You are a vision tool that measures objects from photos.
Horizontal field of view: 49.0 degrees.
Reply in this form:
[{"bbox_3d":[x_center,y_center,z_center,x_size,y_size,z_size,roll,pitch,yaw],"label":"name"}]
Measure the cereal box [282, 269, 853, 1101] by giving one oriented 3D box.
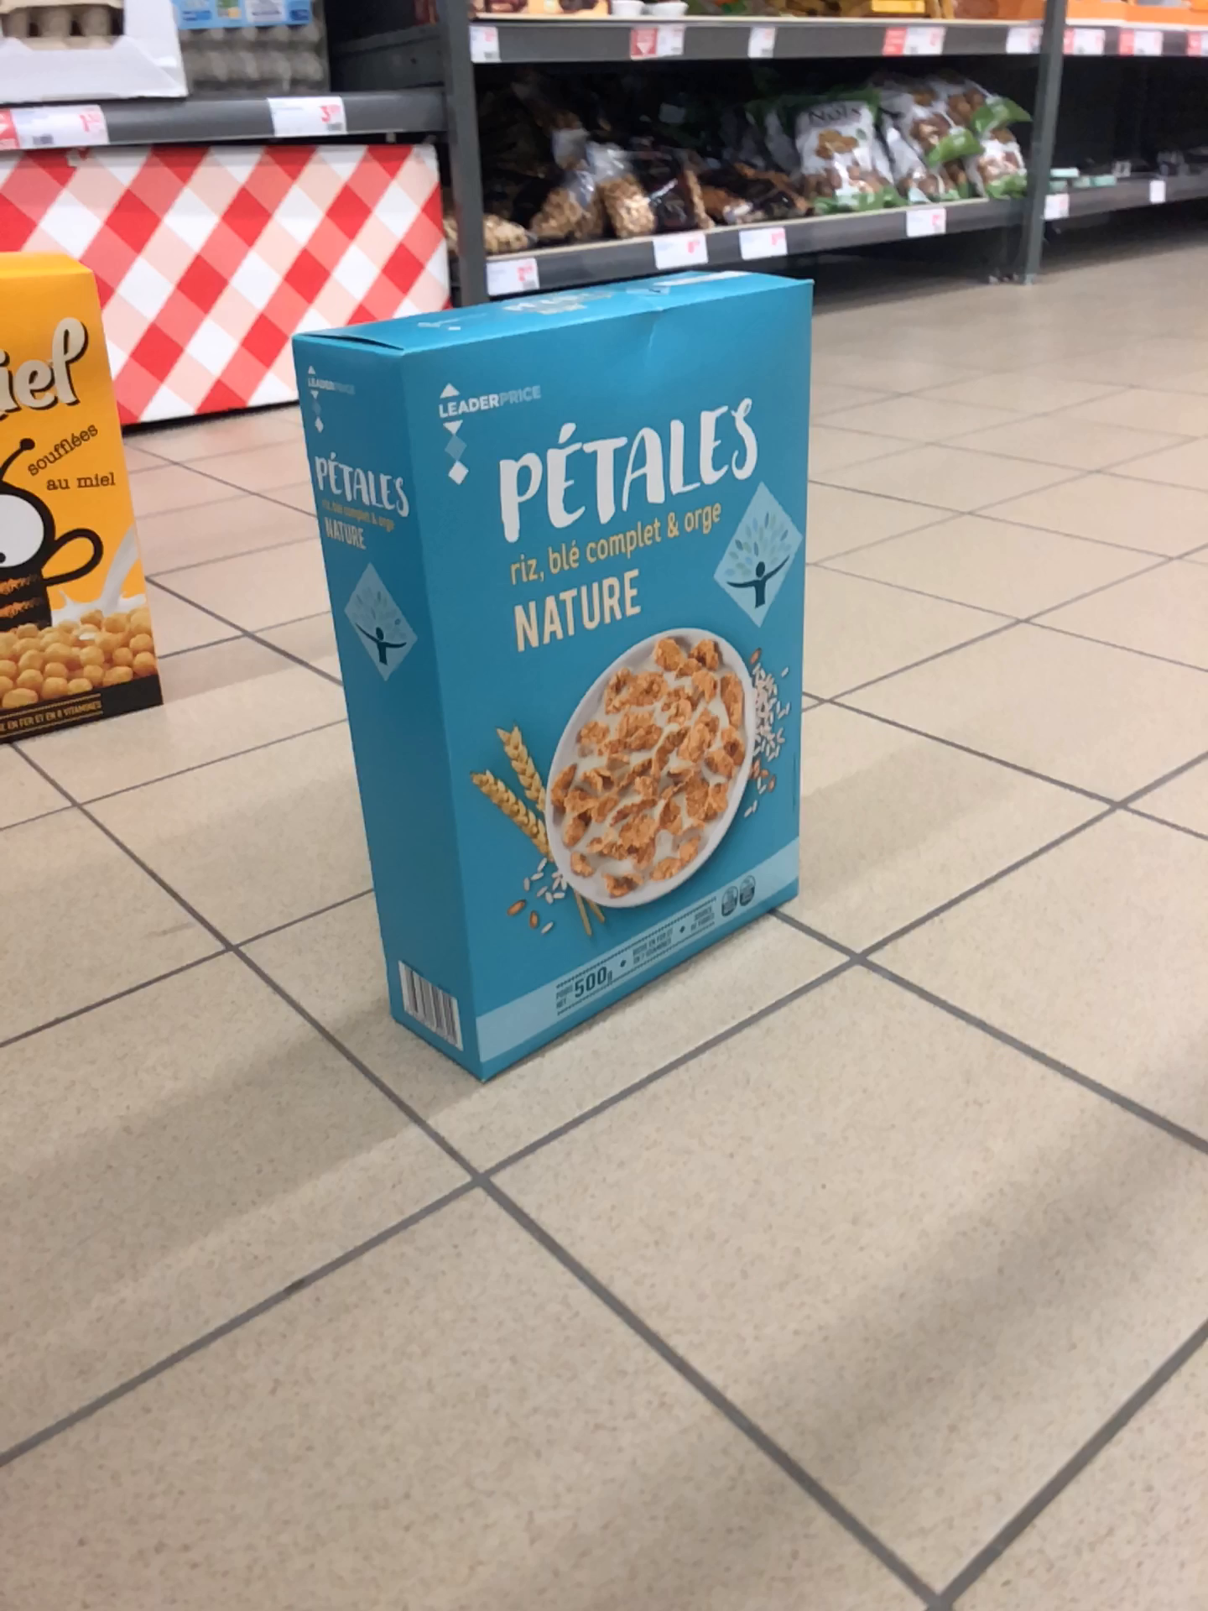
[{"bbox_3d":[0.001,-0.054,0.517,0.201,0.268,0.070,-24,33,-36],"label":"cereal box"}]
